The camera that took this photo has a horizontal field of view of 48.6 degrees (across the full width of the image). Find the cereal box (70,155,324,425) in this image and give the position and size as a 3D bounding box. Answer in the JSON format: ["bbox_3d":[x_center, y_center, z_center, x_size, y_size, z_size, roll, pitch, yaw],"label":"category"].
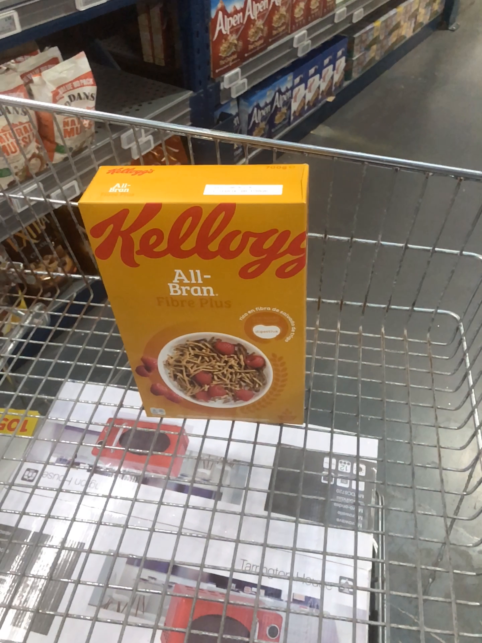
[{"bbox_3d":[-0.021,-0.014,0.538,0.200,0.289,0.070,1,45,9],"label":"cereal box"}]
